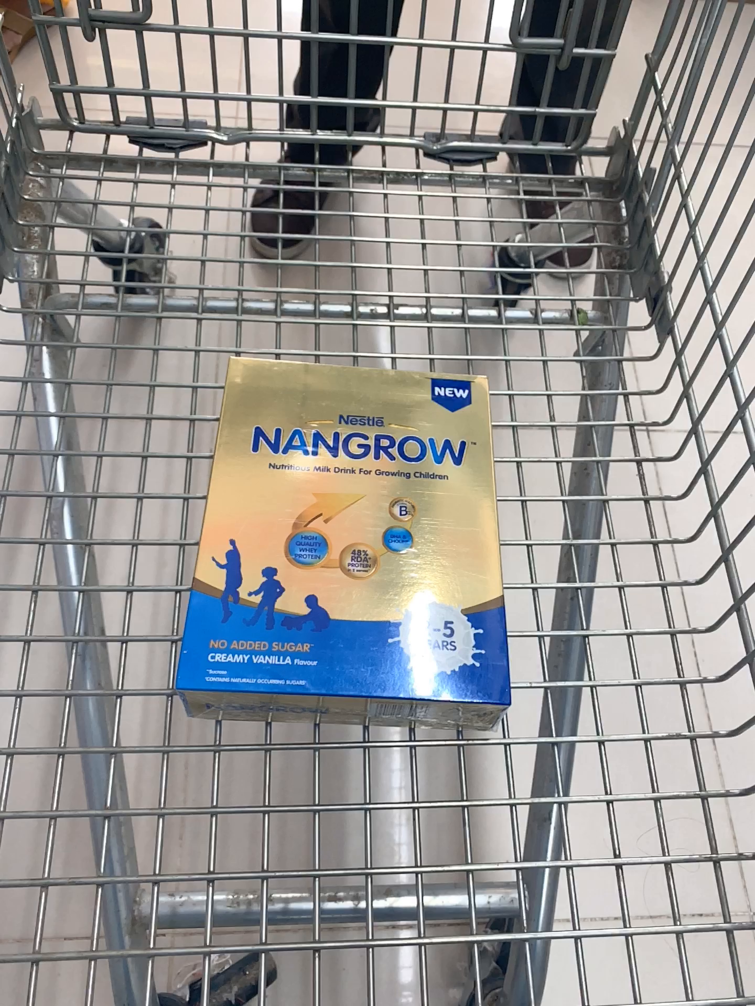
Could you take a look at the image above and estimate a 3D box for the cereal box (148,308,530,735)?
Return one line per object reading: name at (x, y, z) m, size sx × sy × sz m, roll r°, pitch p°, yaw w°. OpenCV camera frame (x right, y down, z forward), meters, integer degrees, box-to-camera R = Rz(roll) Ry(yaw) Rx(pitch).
cereal box at (-0.014, 0.006, 0.373) m, size 0.150 × 0.060 × 0.190 m, roll 3°, pitch 63°, yaw -3°
